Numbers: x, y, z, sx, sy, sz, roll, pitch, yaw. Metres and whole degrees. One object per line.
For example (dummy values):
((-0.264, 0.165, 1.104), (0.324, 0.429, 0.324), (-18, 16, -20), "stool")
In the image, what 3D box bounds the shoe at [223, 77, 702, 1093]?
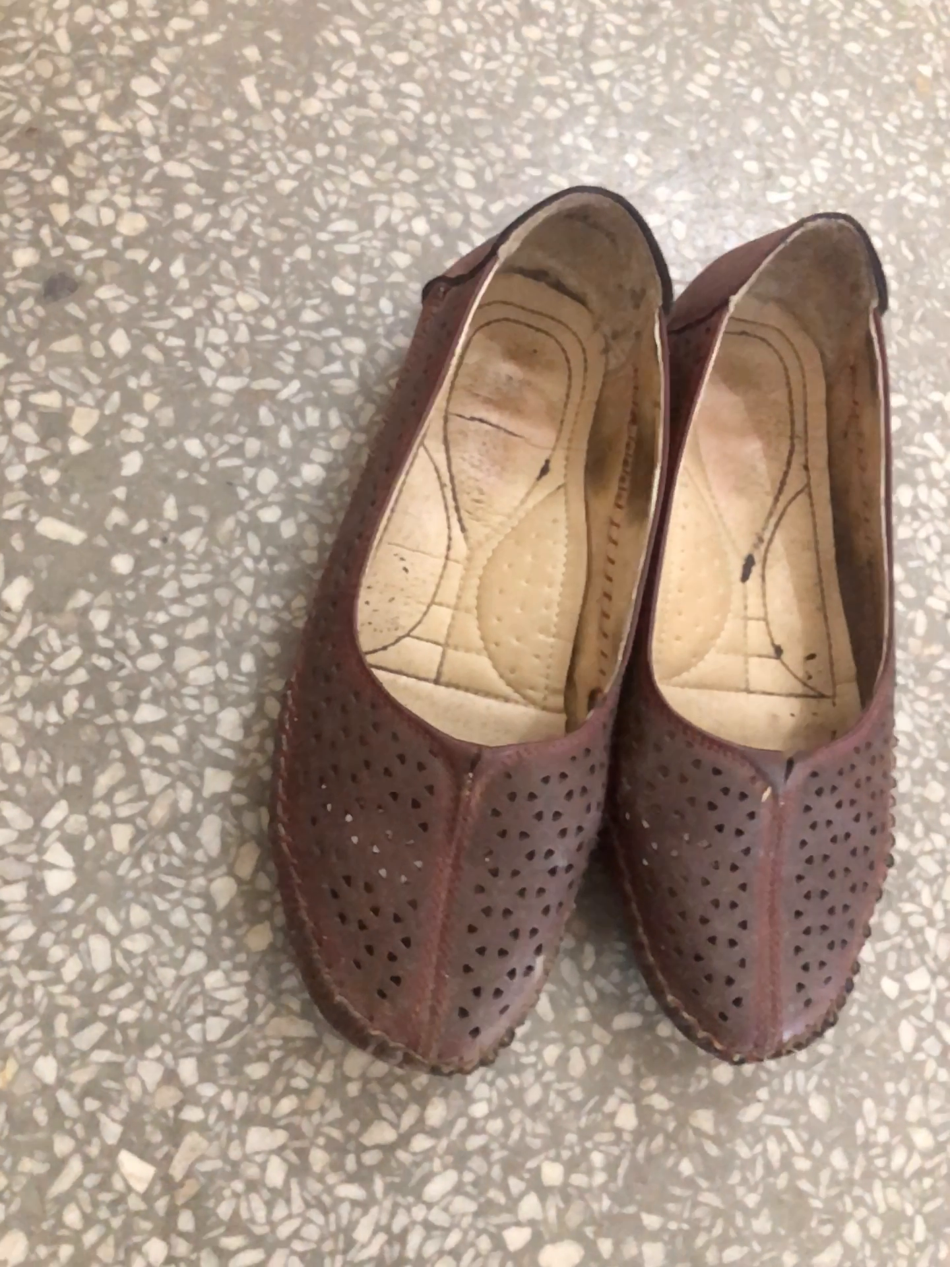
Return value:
((0.000, -0.017, 0.291), (0.090, 0.060, 0.250), (10, 73, -10), "shoe")

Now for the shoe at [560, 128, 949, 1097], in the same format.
((0.081, -0.009, 0.302), (0.090, 0.060, 0.250), (7, 74, -11), "shoe")
